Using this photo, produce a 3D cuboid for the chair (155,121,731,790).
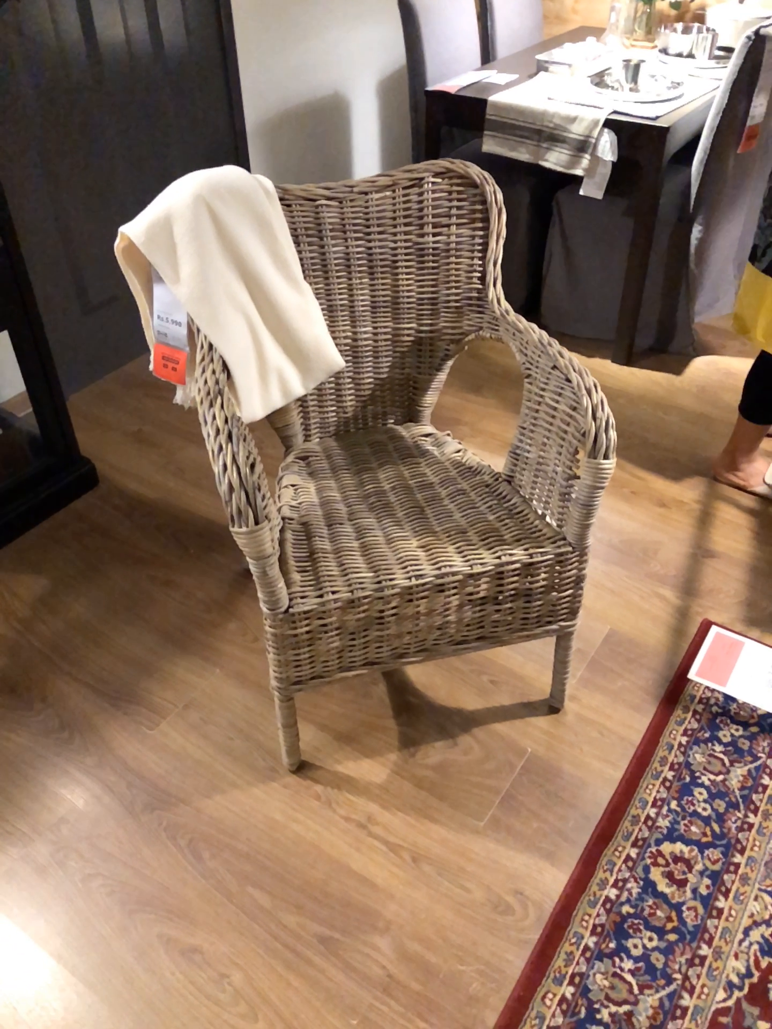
[{"bbox_3d":[0.025,-0.120,1.420,0.620,0.814,0.634,-11,40,-12],"label":"chair"}]
